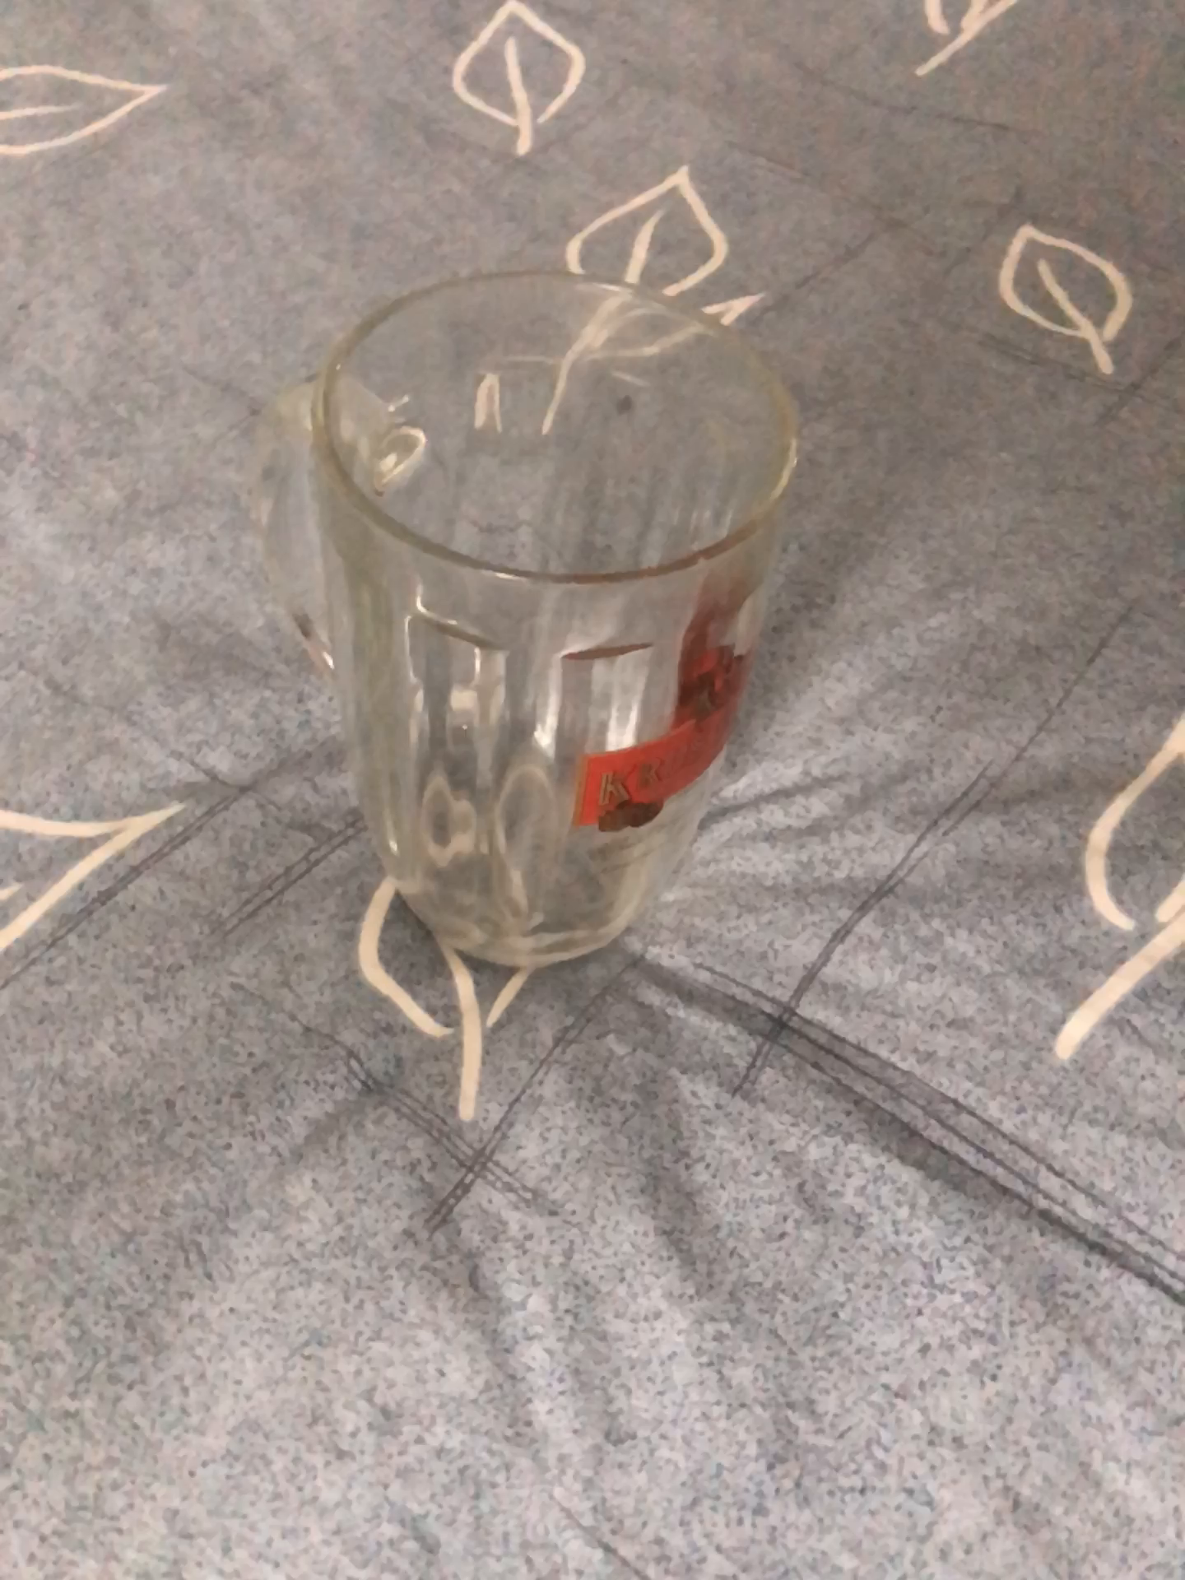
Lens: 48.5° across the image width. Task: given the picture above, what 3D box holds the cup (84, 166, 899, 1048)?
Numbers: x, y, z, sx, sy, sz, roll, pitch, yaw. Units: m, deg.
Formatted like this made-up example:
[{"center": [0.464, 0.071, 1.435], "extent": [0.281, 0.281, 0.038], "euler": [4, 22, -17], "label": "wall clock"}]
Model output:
[{"center": [-0.020, -0.040, 0.306], "extent": [0.128, 0.136, 0.091], "euler": [33, 60, 22], "label": "cup"}]
